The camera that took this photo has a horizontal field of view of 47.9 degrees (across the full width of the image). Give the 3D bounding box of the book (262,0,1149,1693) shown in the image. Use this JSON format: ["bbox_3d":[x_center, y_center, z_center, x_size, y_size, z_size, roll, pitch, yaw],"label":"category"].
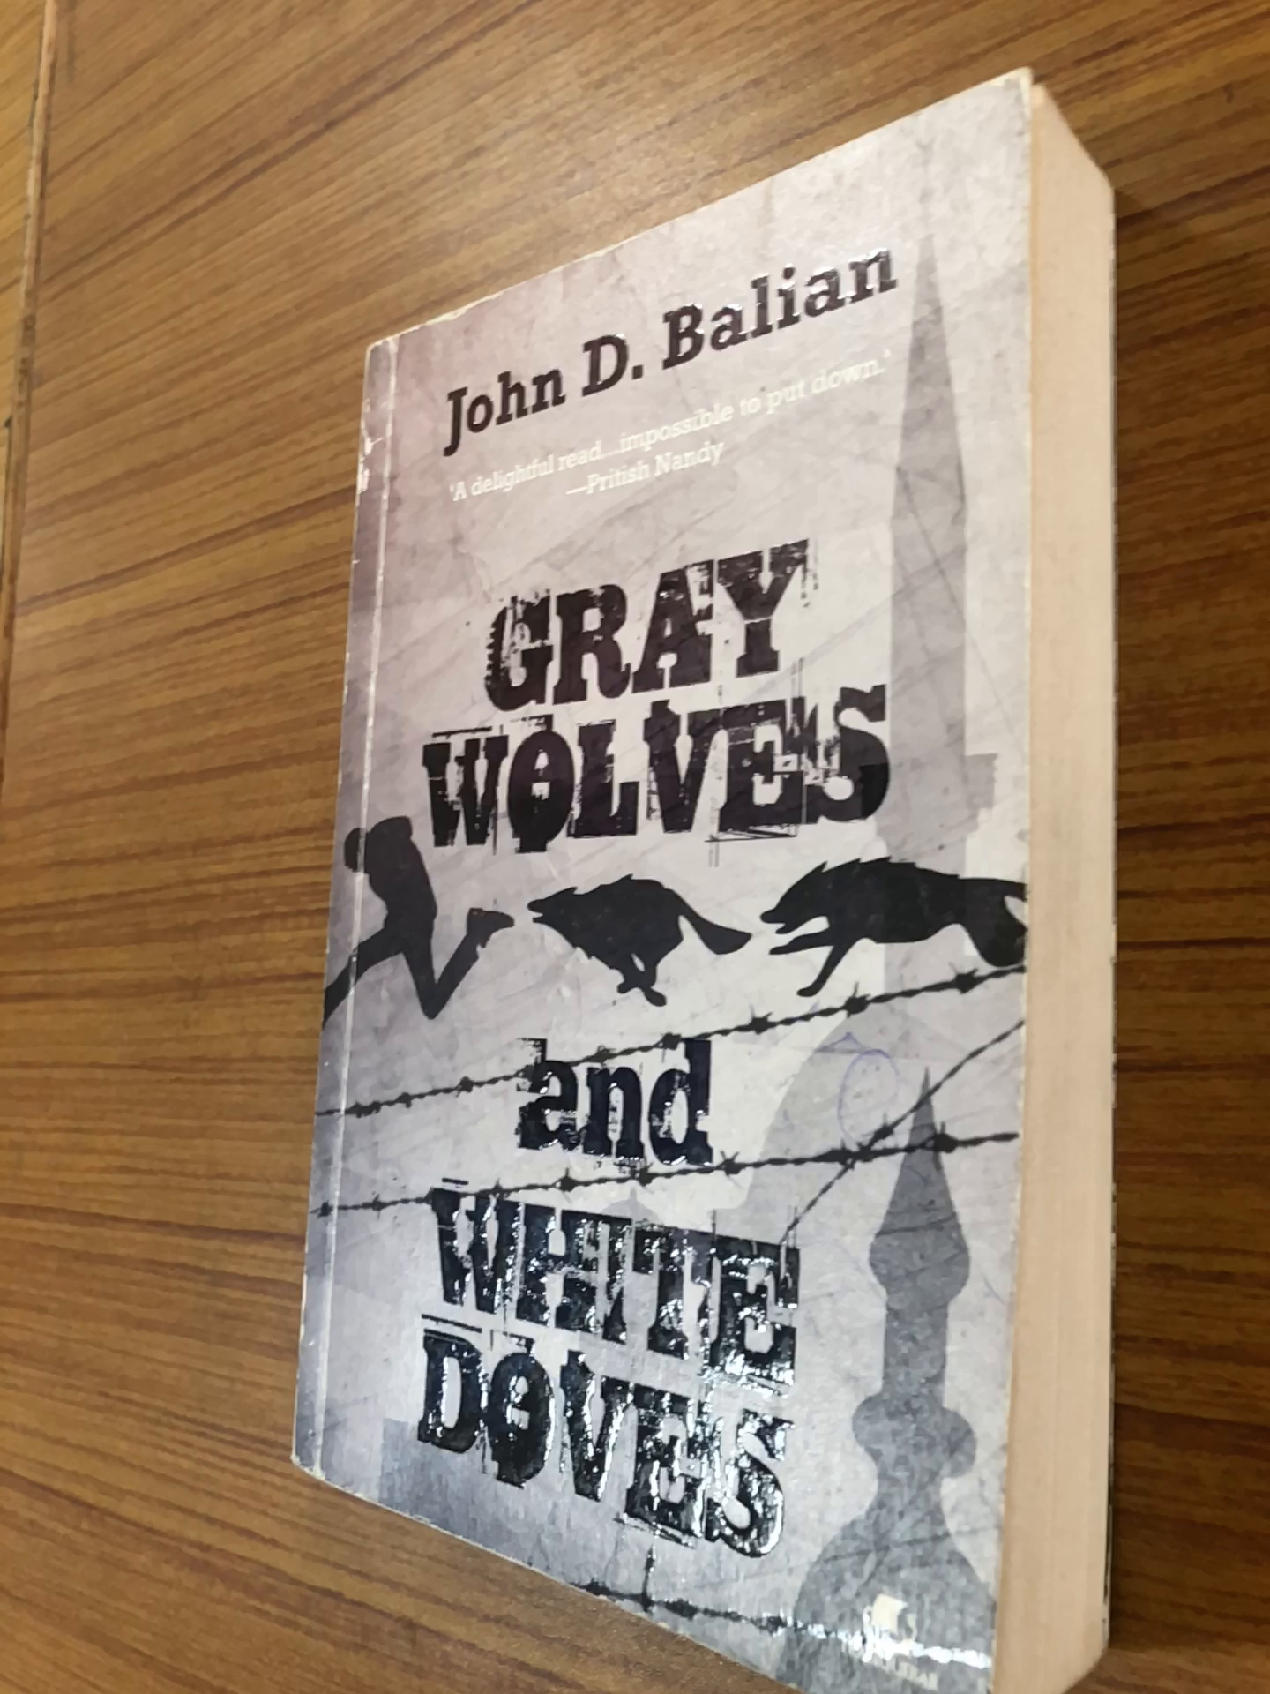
[{"bbox_3d":[0.003,-0.002,0.207,0.131,0.030,0.210,-3,82,43],"label":"book"}]
